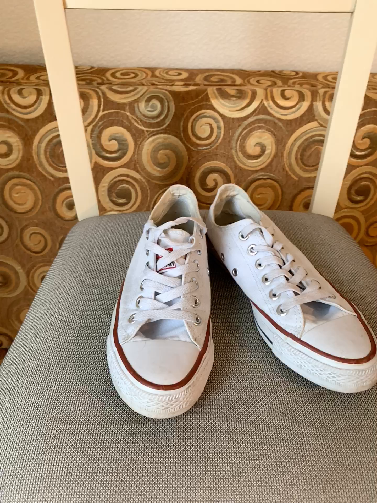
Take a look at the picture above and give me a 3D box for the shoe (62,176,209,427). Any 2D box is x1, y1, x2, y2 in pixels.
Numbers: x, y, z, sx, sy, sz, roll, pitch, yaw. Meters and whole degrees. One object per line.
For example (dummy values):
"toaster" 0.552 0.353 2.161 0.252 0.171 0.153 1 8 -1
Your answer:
"shoe" -0.031 0.026 0.336 0.090 0.060 0.221 2 46 0

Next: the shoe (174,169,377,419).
"shoe" 0.076 0.019 0.351 0.090 0.060 0.221 -20 50 -19
